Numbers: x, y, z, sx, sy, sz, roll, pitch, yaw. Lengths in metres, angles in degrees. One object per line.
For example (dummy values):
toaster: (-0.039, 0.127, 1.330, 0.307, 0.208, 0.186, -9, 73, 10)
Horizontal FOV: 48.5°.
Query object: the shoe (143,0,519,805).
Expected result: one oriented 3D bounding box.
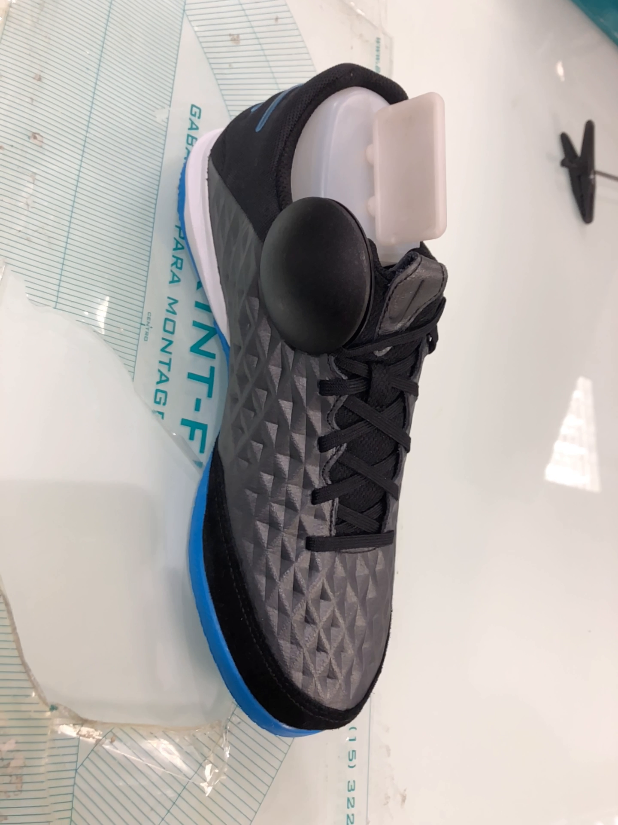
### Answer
shoe: (0.000, -0.015, 0.297, 0.101, 0.099, 0.290, 5, 76, -38)
